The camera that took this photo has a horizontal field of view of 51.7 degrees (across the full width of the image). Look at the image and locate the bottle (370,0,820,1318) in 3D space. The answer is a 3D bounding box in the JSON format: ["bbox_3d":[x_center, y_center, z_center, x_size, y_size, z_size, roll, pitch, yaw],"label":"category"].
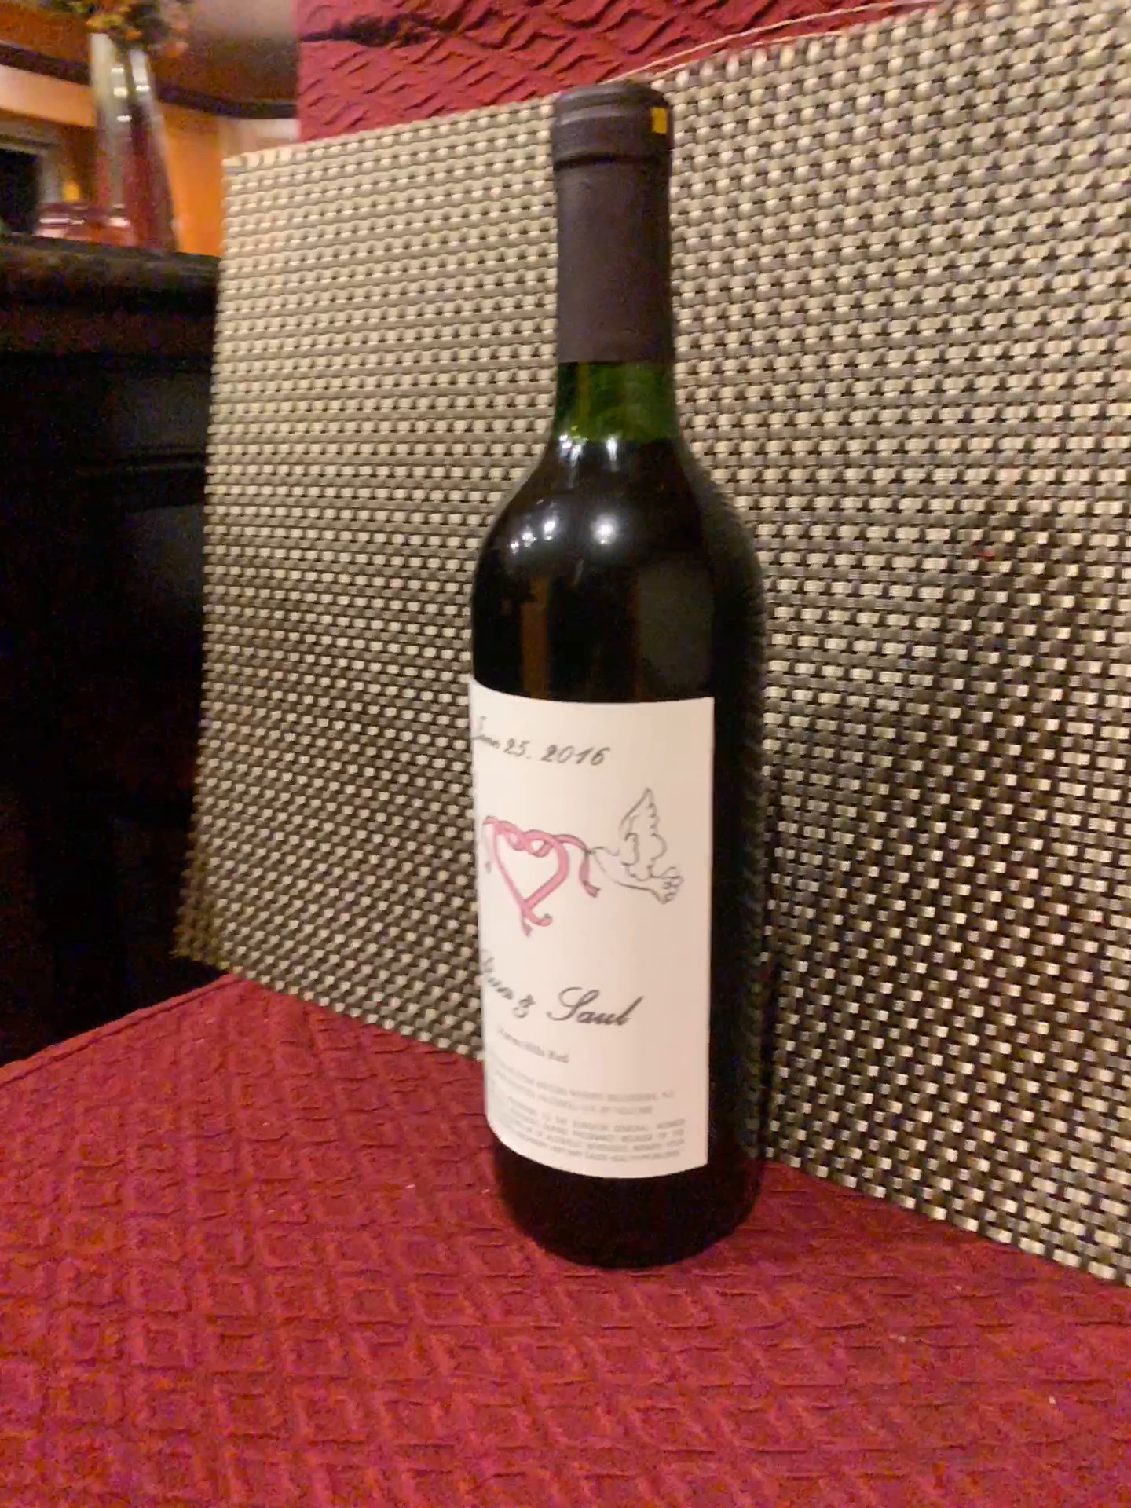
[{"bbox_3d":[0.010,-0.012,0.298,0.080,0.289,0.060,10,20,37],"label":"bottle"}]
